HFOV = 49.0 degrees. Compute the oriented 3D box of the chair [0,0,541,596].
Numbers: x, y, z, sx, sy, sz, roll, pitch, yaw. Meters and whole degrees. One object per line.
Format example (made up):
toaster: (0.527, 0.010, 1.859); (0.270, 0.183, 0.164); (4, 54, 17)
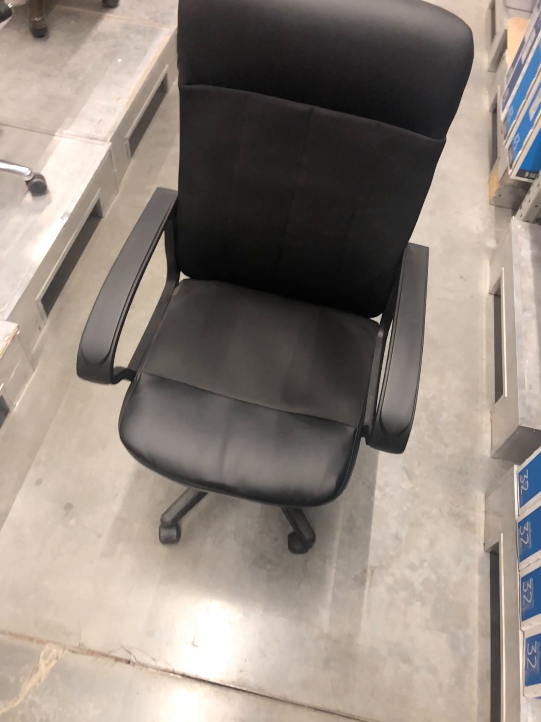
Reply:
chair: (-0.012, -0.045, 1.219); (0.650, 1.124, 0.633); (12, 56, 3)
